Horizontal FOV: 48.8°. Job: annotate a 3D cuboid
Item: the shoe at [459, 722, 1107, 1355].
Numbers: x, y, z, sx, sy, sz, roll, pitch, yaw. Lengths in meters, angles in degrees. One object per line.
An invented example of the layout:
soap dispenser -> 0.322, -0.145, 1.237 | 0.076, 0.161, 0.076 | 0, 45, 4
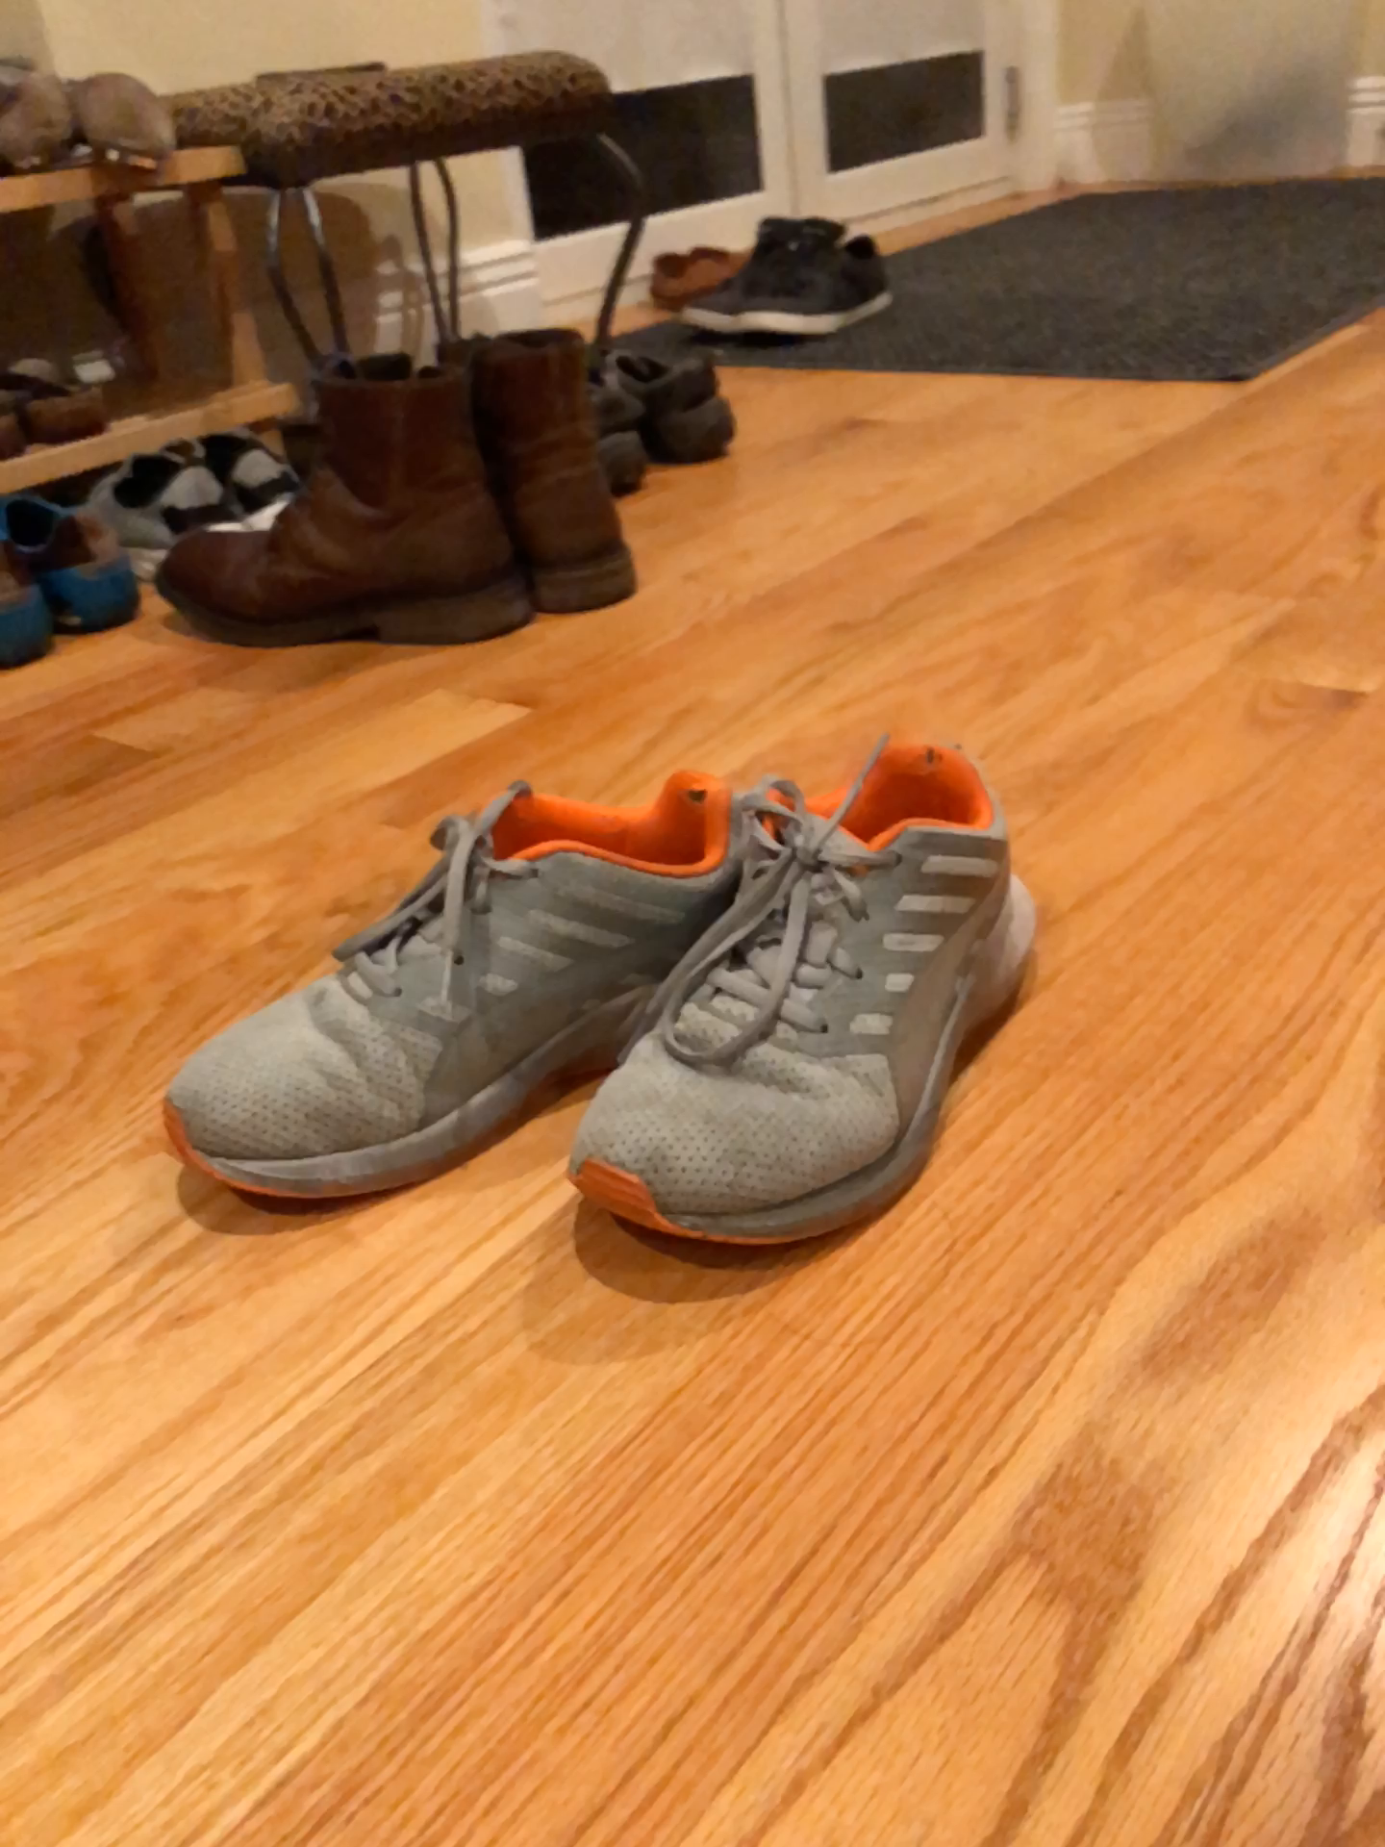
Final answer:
shoe -> 0.048, 0.020, 0.532 | 0.110, 0.080, 0.251 | 12, 34, 31

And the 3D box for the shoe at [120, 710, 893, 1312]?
shoe -> -0.057, 0.018, 0.558 | 0.250, 0.099, 0.100 | -24, 33, -27
